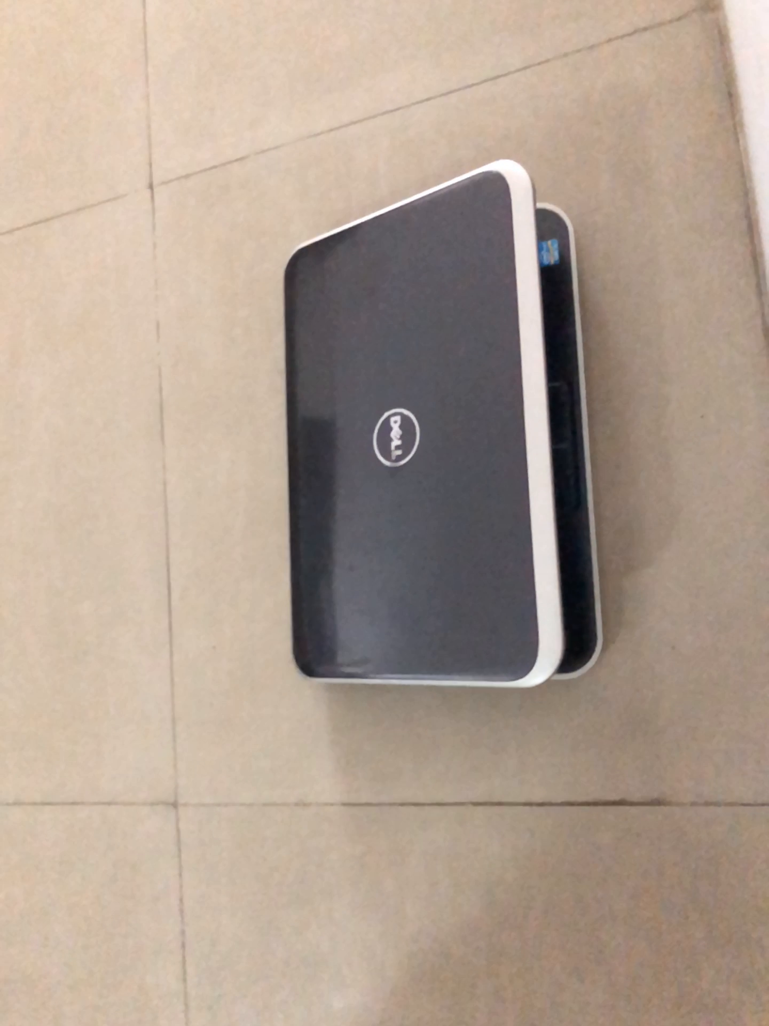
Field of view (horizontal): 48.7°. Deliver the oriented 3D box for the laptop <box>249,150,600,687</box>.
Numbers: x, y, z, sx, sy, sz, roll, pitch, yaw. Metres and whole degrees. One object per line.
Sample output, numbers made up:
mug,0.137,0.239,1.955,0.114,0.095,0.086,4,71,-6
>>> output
laptop,0.025,-0.055,0.645,0.235,0.080,0.360,-5,84,24
